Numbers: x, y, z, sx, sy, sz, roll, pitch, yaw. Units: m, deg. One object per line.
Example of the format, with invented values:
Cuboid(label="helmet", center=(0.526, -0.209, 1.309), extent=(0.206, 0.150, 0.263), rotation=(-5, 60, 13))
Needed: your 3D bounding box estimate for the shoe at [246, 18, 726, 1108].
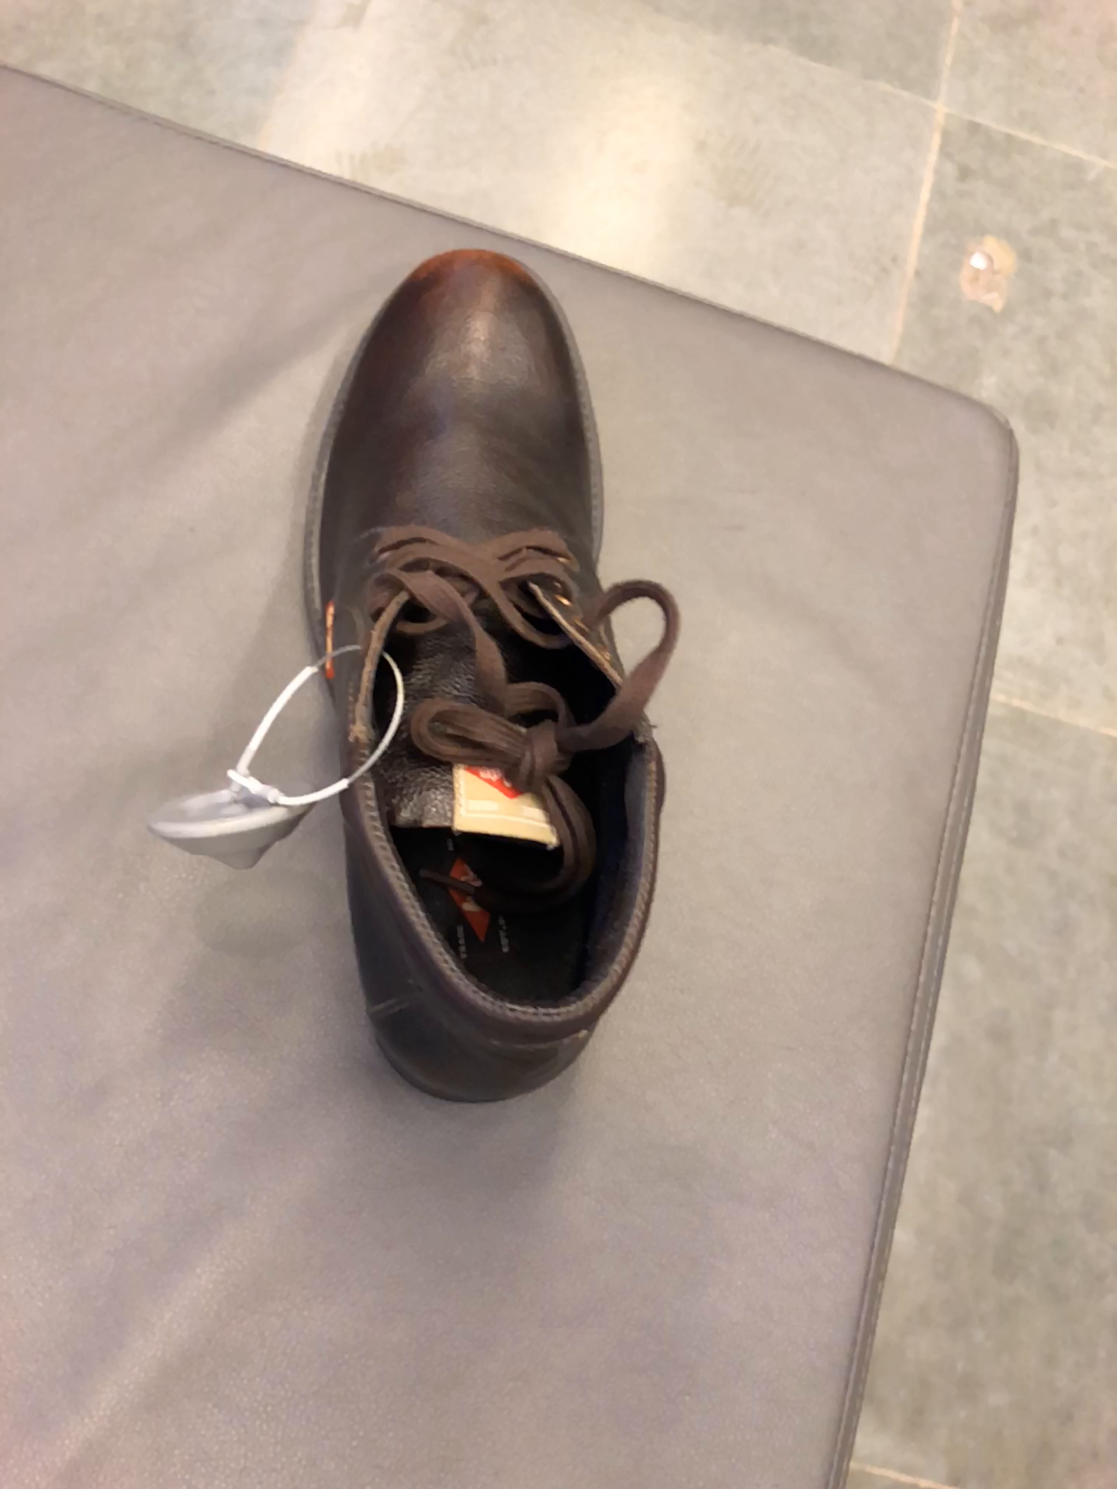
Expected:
Cuboid(label="shoe", center=(-0.031, -0.039, 0.405), extent=(0.108, 0.178, 0.299), rotation=(1, 73, -8))
